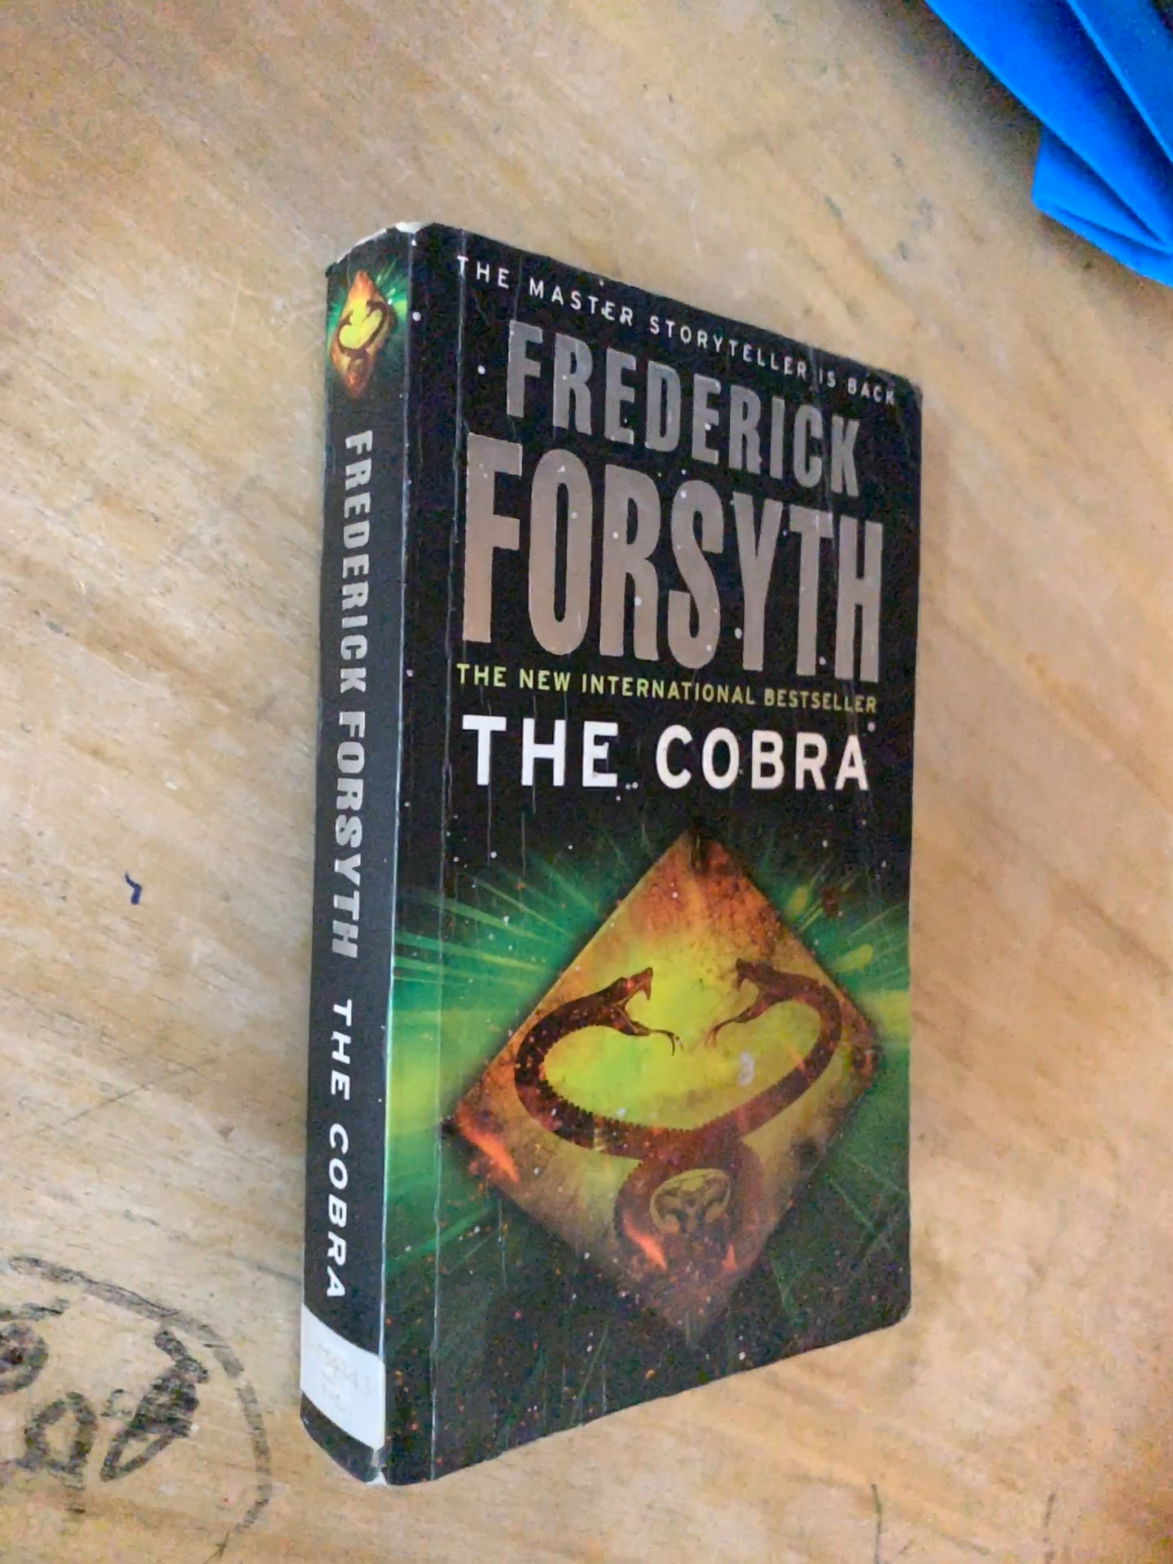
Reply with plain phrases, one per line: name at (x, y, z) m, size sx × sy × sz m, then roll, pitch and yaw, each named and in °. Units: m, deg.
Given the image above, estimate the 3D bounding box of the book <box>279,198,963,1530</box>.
book at (0.009, 0.010, 0.194) m, size 0.100 × 0.040 × 0.160 m, roll 1°, pitch 91°, yaw -36°
